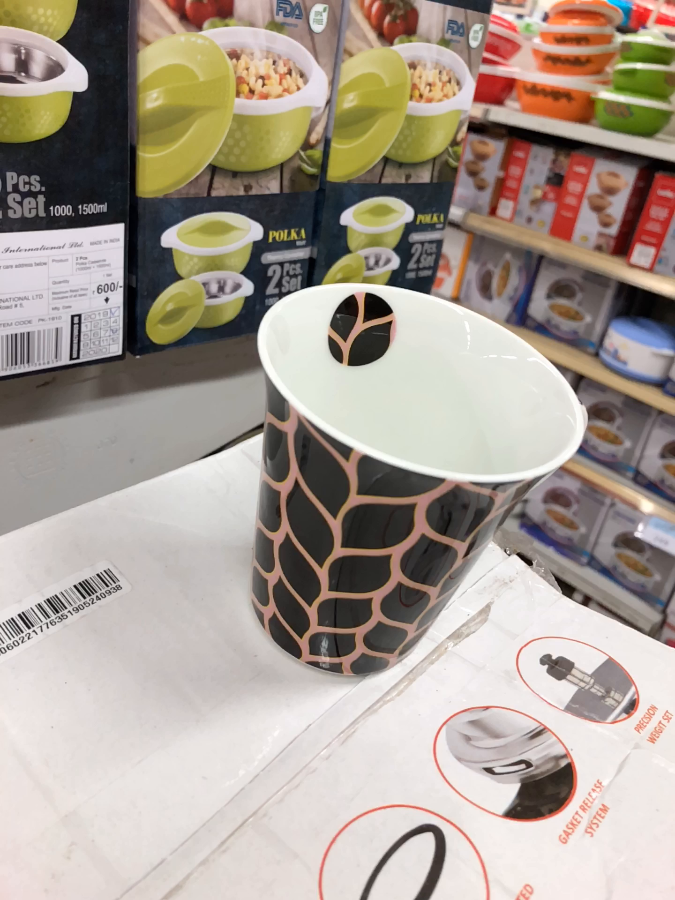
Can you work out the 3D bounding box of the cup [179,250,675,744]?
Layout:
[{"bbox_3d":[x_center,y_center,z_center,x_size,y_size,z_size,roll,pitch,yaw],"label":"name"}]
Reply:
[{"bbox_3d":[0.028,0.002,0.212,0.111,0.079,0.090,-11,42,-32],"label":"cup"}]
